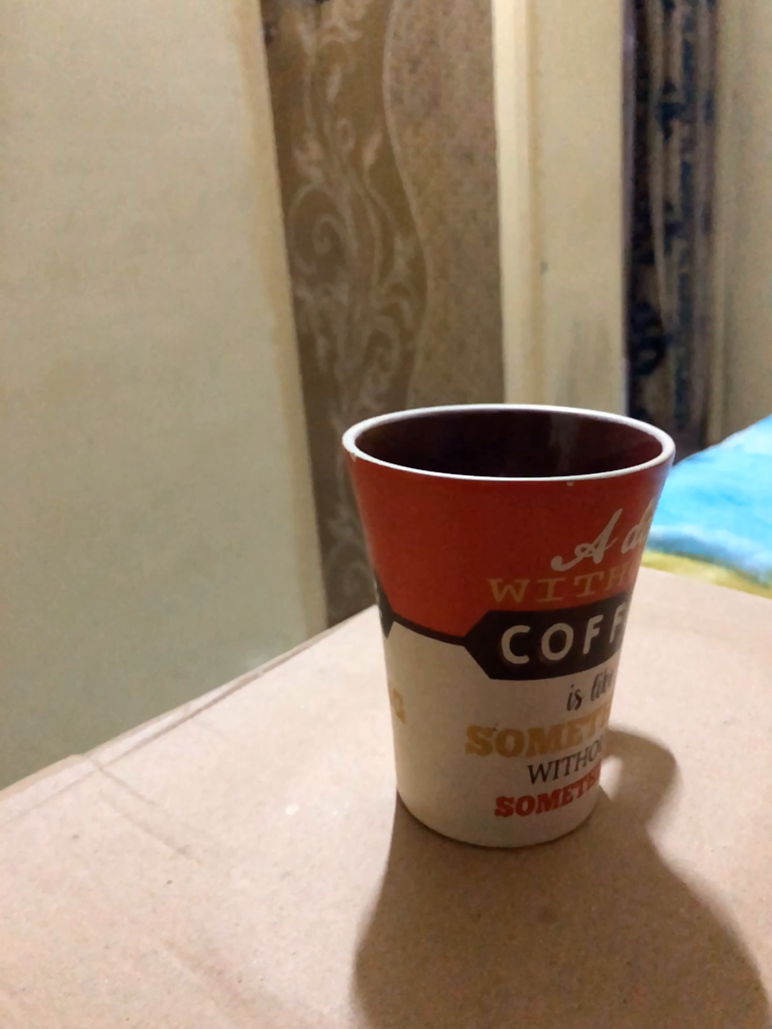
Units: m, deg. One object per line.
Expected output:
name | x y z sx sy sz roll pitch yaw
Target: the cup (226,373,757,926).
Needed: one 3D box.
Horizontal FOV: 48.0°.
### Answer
cup | 0.039 0.023 0.274 0.100 0.109 0.131 11 23 41
